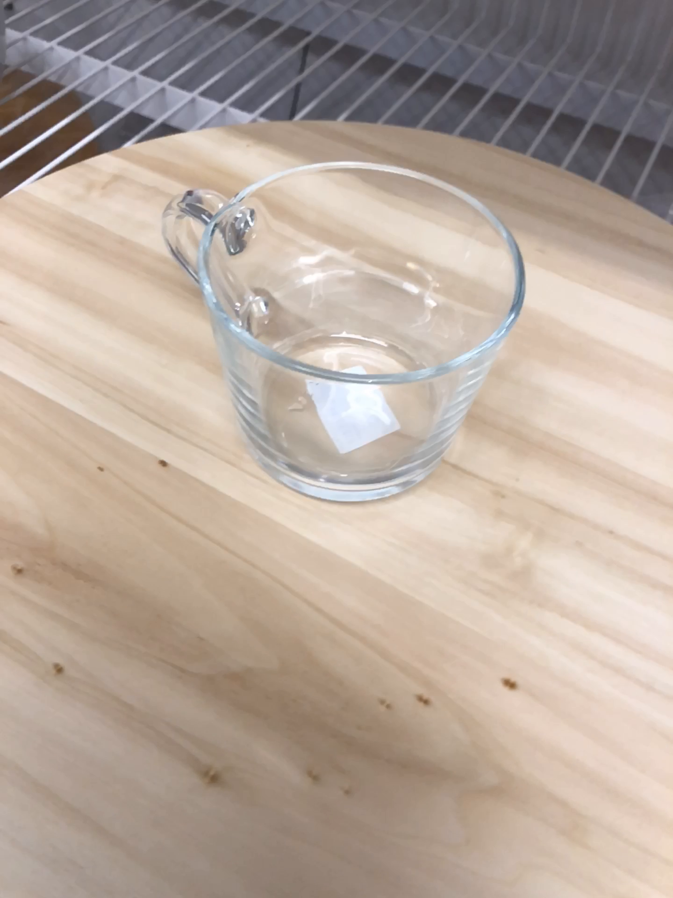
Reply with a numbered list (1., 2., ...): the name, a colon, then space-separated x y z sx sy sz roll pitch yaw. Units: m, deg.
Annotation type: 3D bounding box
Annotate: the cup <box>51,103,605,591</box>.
1. cup: -0.003 -0.037 0.228 0.120 0.060 0.090 33 56 20
